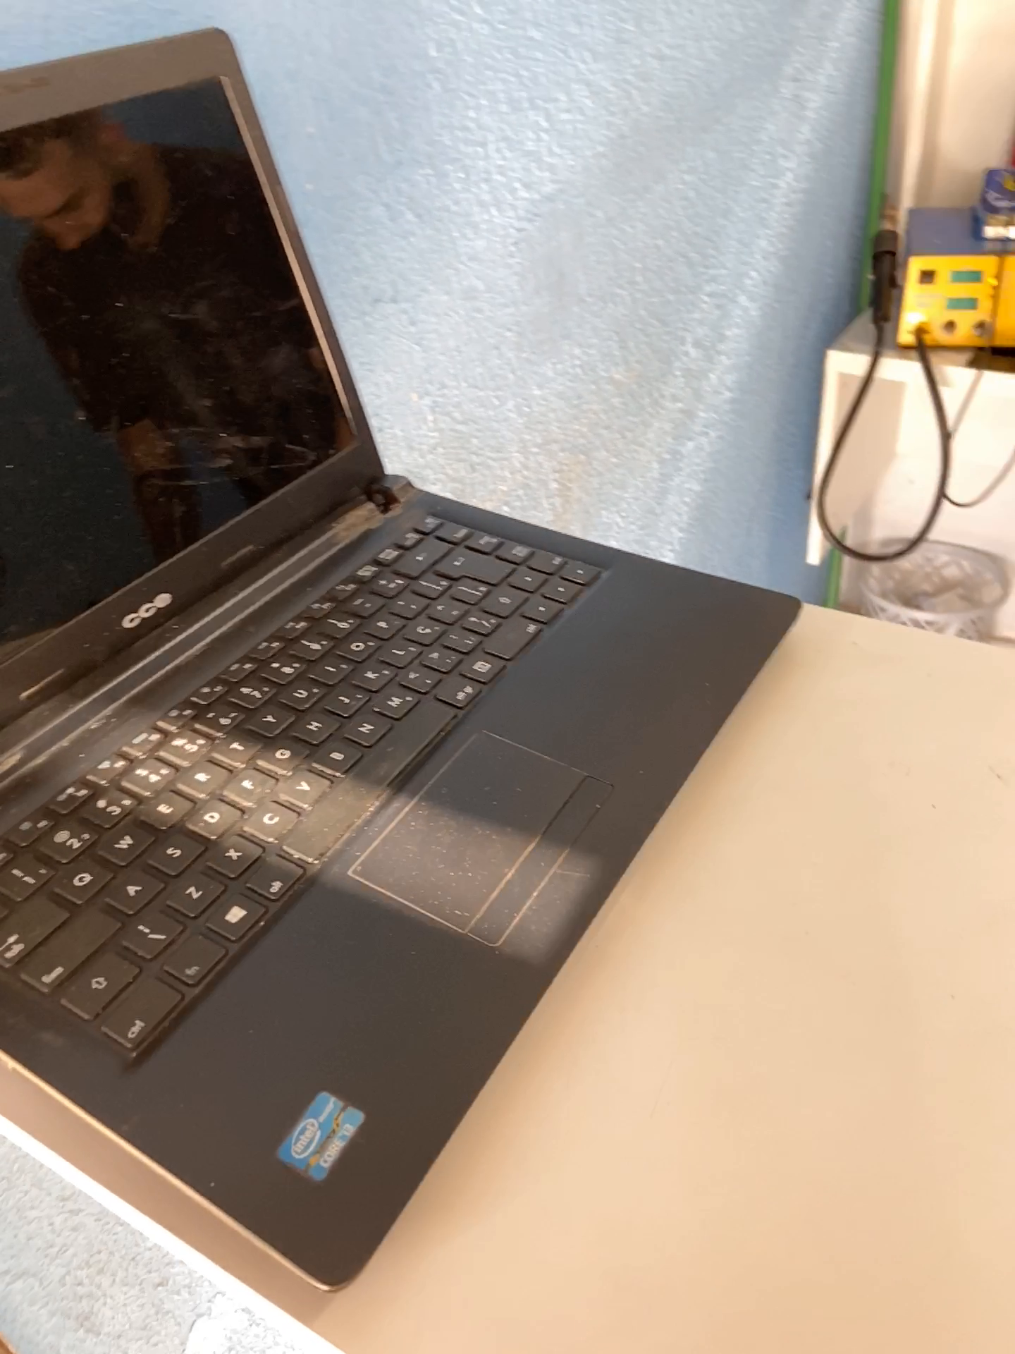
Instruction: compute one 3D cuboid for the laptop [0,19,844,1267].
[{"bbox_3d":[-0.096,-0.080,0.375,0.312,0.210,0.335,20,43,26],"label":"laptop"}]
